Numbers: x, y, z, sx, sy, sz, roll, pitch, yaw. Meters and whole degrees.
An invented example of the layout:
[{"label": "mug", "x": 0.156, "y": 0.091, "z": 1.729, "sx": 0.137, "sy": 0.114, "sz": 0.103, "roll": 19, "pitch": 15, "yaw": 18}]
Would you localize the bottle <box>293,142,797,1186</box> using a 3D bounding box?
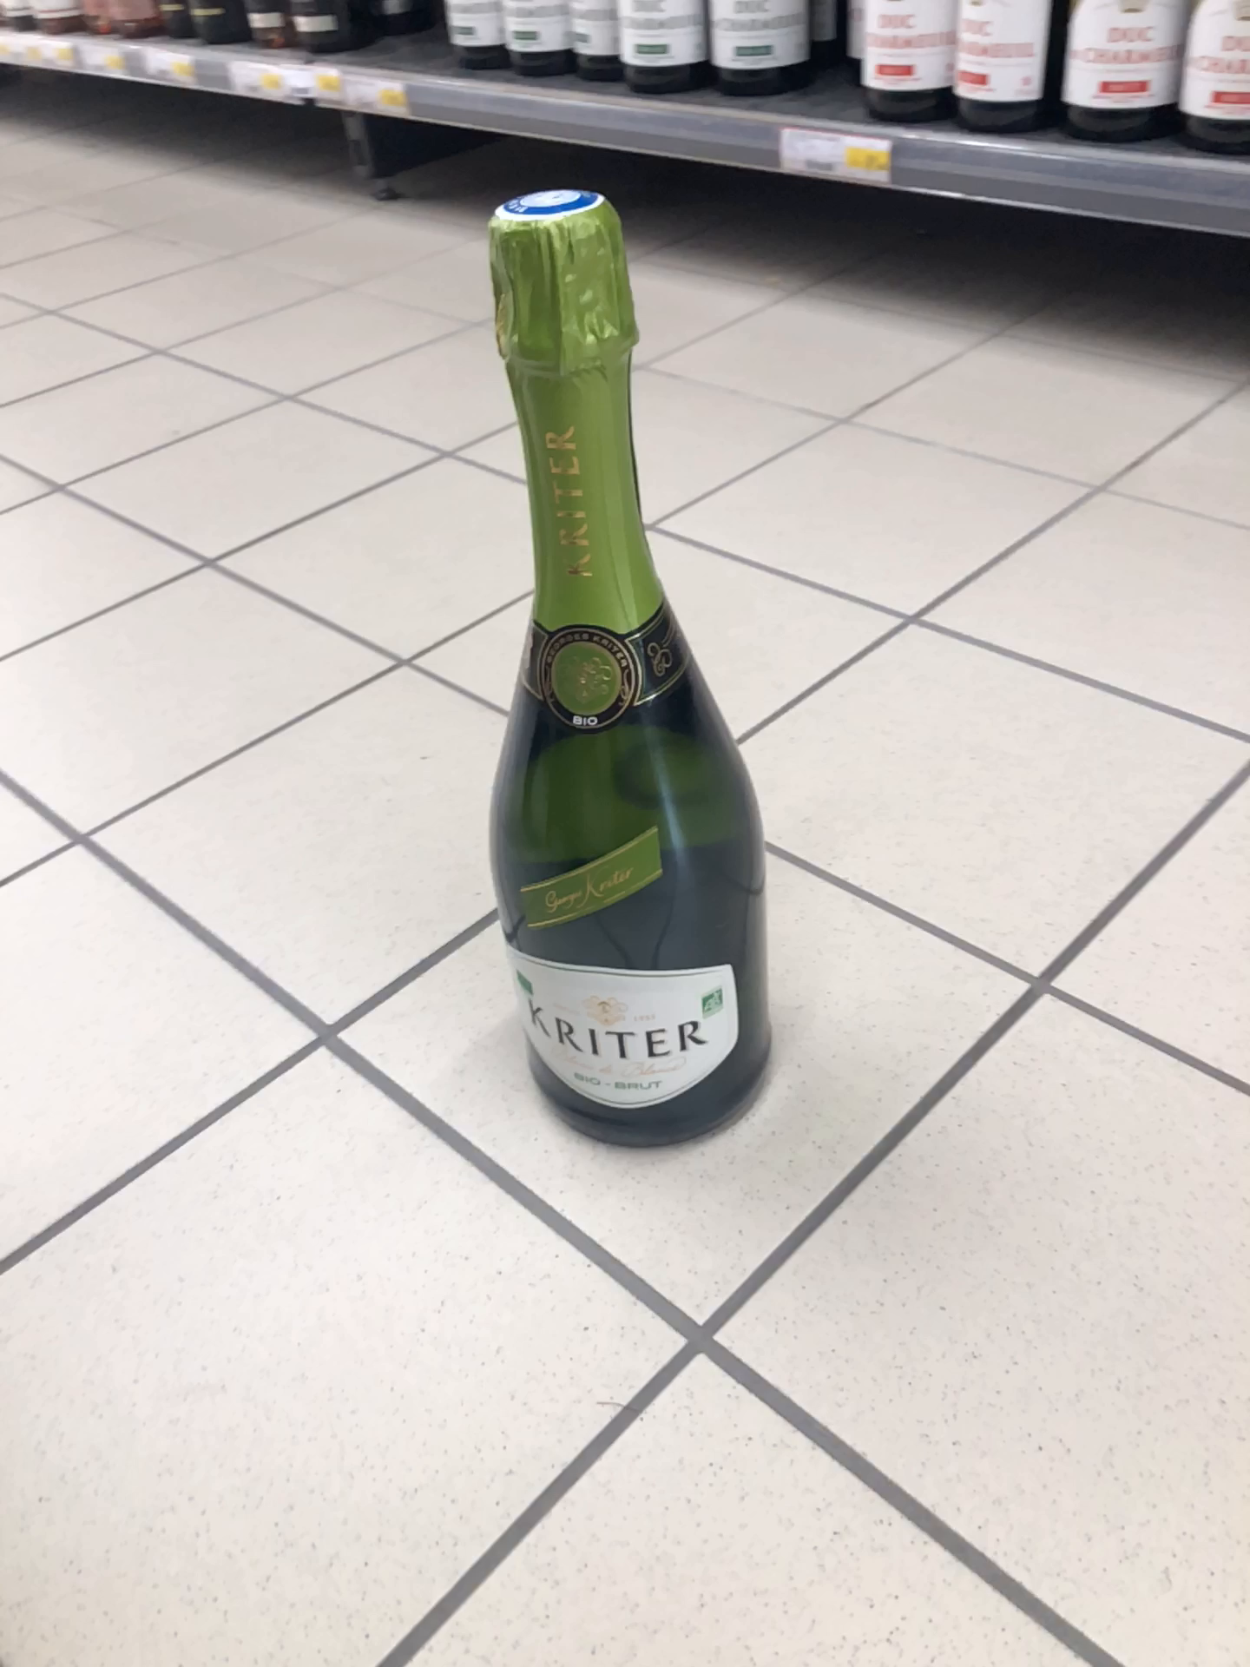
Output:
[{"label": "bottle", "x": -0.003, "y": -0.032, "z": 0.425, "sx": 0.100, "sy": 0.308, "sz": 0.091, "roll": 3, "pitch": 38, "yaw": 12}]
